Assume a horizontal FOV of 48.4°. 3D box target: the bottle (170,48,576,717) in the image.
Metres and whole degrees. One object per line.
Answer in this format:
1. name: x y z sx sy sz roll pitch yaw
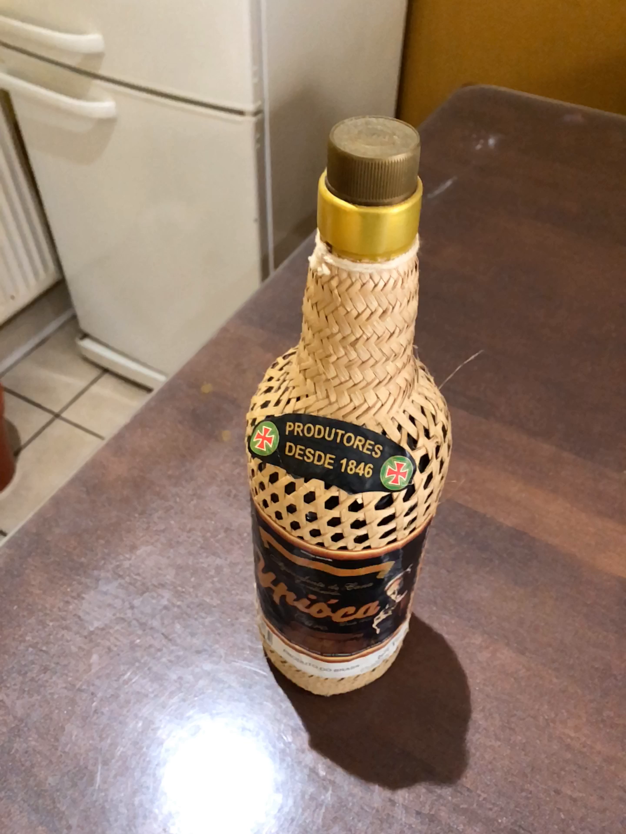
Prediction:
1. bottle: 0.020 0.025 0.321 0.100 0.328 0.091 9 48 7
